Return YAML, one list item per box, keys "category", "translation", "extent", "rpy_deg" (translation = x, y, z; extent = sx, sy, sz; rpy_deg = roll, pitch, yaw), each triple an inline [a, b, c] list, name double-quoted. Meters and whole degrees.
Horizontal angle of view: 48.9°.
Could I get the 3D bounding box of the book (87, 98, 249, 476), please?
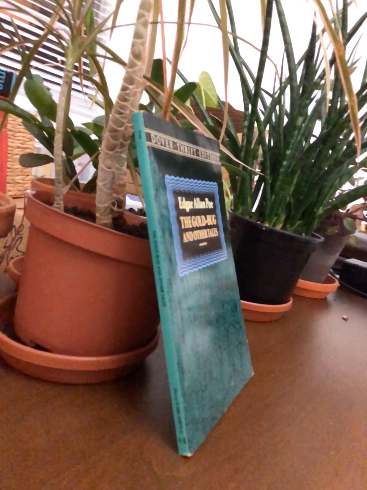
- category: "book"
  translation: [0.001, 0.018, 0.288]
  extent: [0.020, 0.210, 0.140]
  rpy_deg: [-9, 1, 26]
